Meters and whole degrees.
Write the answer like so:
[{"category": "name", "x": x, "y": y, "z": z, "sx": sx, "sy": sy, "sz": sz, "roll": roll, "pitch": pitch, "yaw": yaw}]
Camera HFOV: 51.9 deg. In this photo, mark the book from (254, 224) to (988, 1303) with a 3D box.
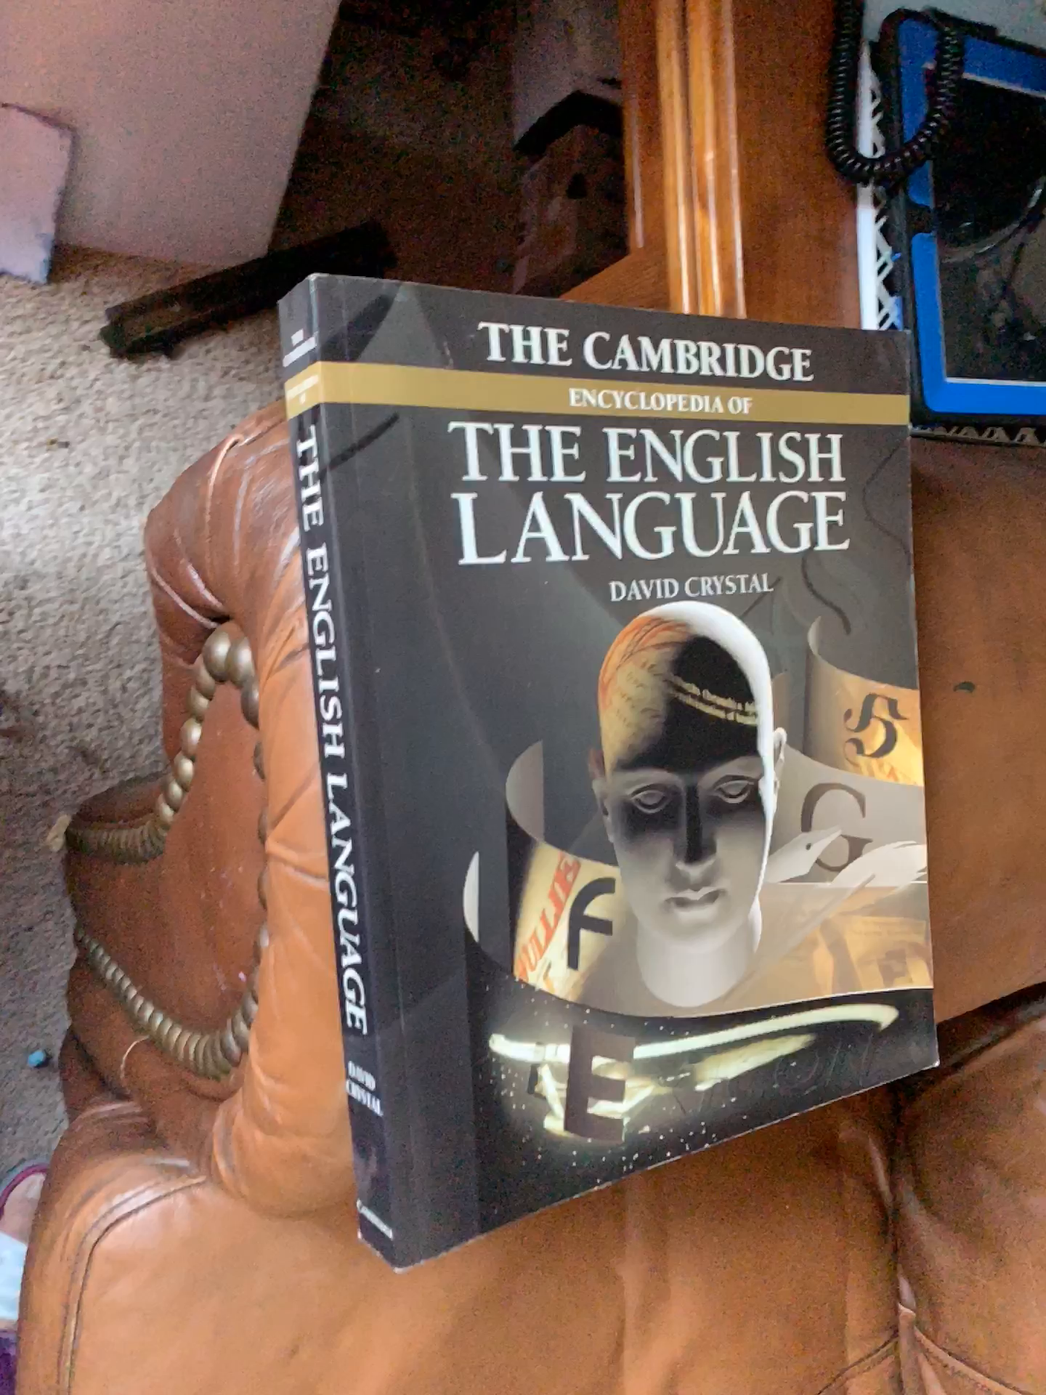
[{"category": "book", "x": 0.049, "y": 0.009, "z": 0.360, "sx": 0.241, "sy": 0.050, "sz": 0.280, "roll": -6, "pitch": 93, "yaw": -31}]
